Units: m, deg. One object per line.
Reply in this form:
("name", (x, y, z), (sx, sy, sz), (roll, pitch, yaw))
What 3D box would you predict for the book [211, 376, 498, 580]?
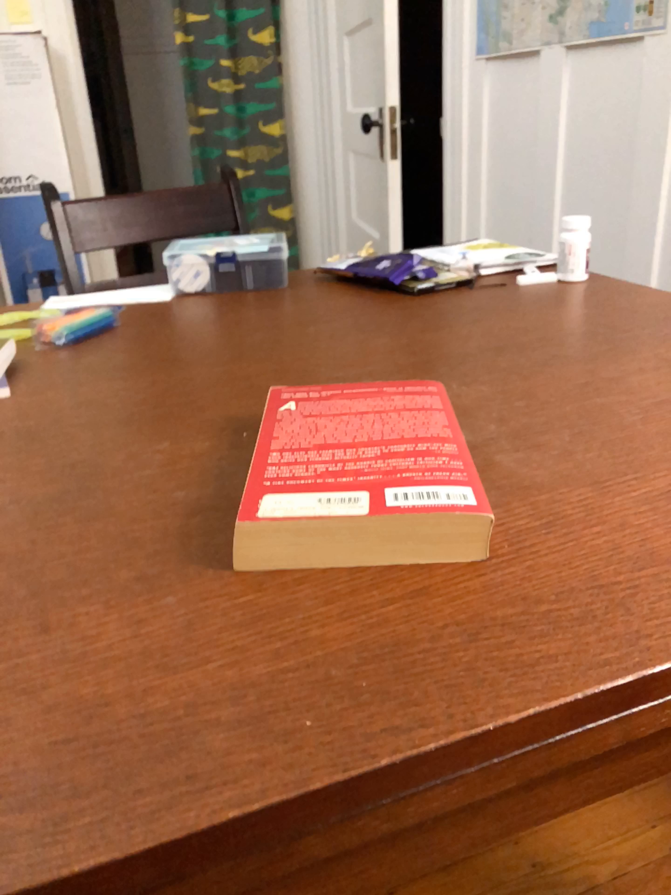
("book", (0.010, 0.007, 0.465), (0.140, 0.030, 0.211), (-3, 24, 1))
